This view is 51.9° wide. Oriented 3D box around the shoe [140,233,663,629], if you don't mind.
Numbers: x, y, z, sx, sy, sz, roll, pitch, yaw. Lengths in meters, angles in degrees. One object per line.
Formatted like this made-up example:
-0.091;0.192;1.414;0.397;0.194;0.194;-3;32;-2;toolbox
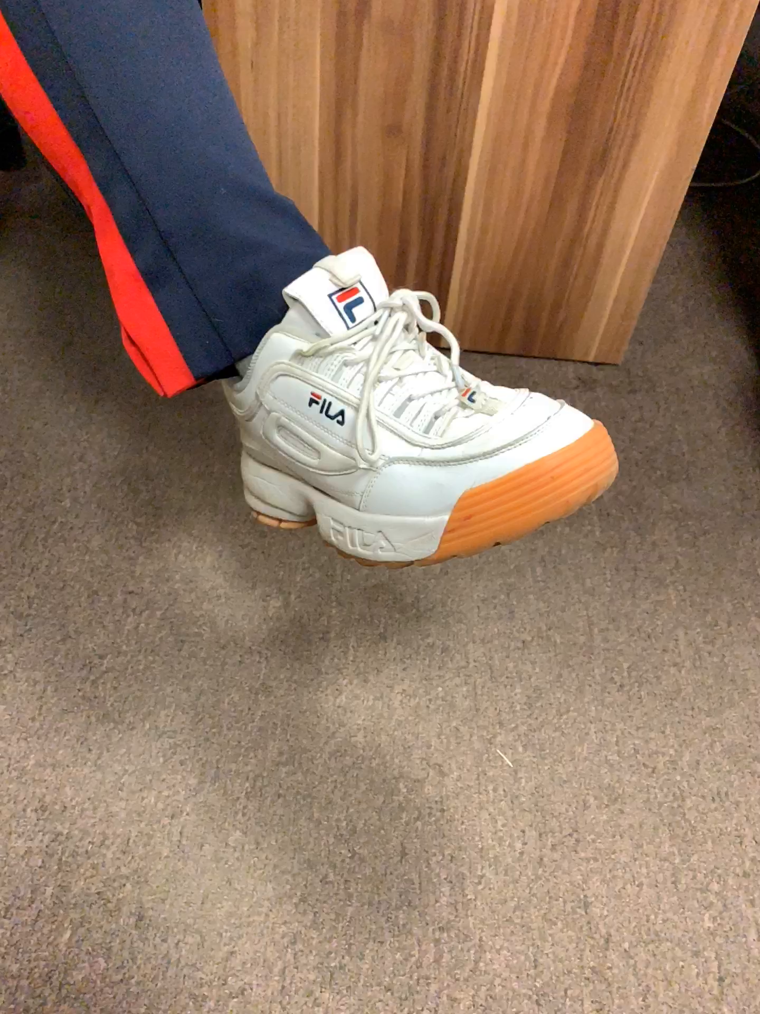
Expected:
0.006;-0.061;0.412;0.230;0.130;0.130;19;38;41;shoe
